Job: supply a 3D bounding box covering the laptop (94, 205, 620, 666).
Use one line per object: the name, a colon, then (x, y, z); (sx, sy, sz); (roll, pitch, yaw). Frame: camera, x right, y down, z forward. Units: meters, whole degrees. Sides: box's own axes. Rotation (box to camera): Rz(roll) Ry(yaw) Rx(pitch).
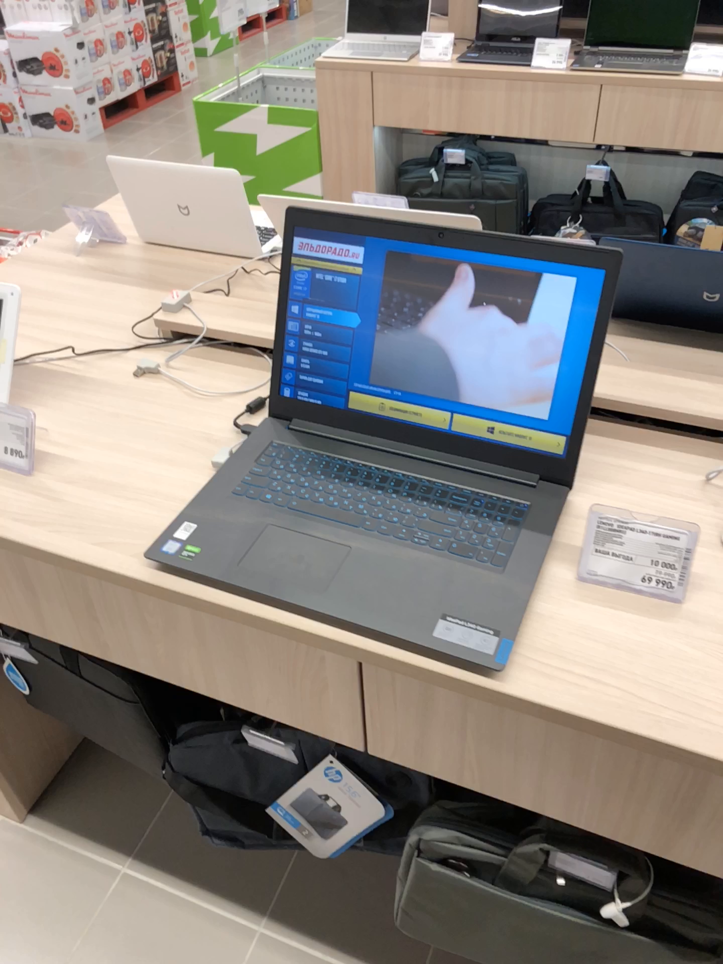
laptop: (0.022, -0.086, 0.855); (0.395, 0.242, 0.382); (14, 43, 20)
